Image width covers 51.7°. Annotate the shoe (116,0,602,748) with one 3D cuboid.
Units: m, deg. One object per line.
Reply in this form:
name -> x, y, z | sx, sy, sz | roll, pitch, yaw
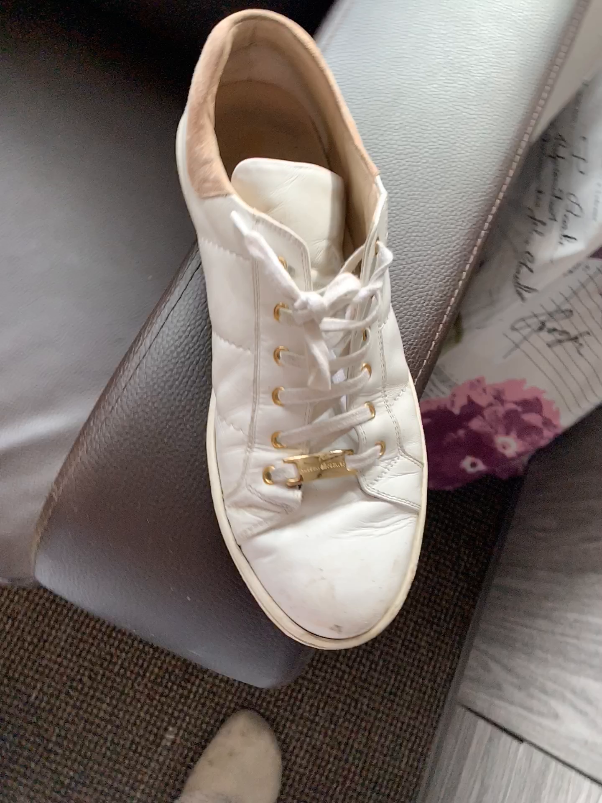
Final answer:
shoe -> 0.008, -0.036, 0.253 | 0.110, 0.110, 0.271 | -10, 78, -11
